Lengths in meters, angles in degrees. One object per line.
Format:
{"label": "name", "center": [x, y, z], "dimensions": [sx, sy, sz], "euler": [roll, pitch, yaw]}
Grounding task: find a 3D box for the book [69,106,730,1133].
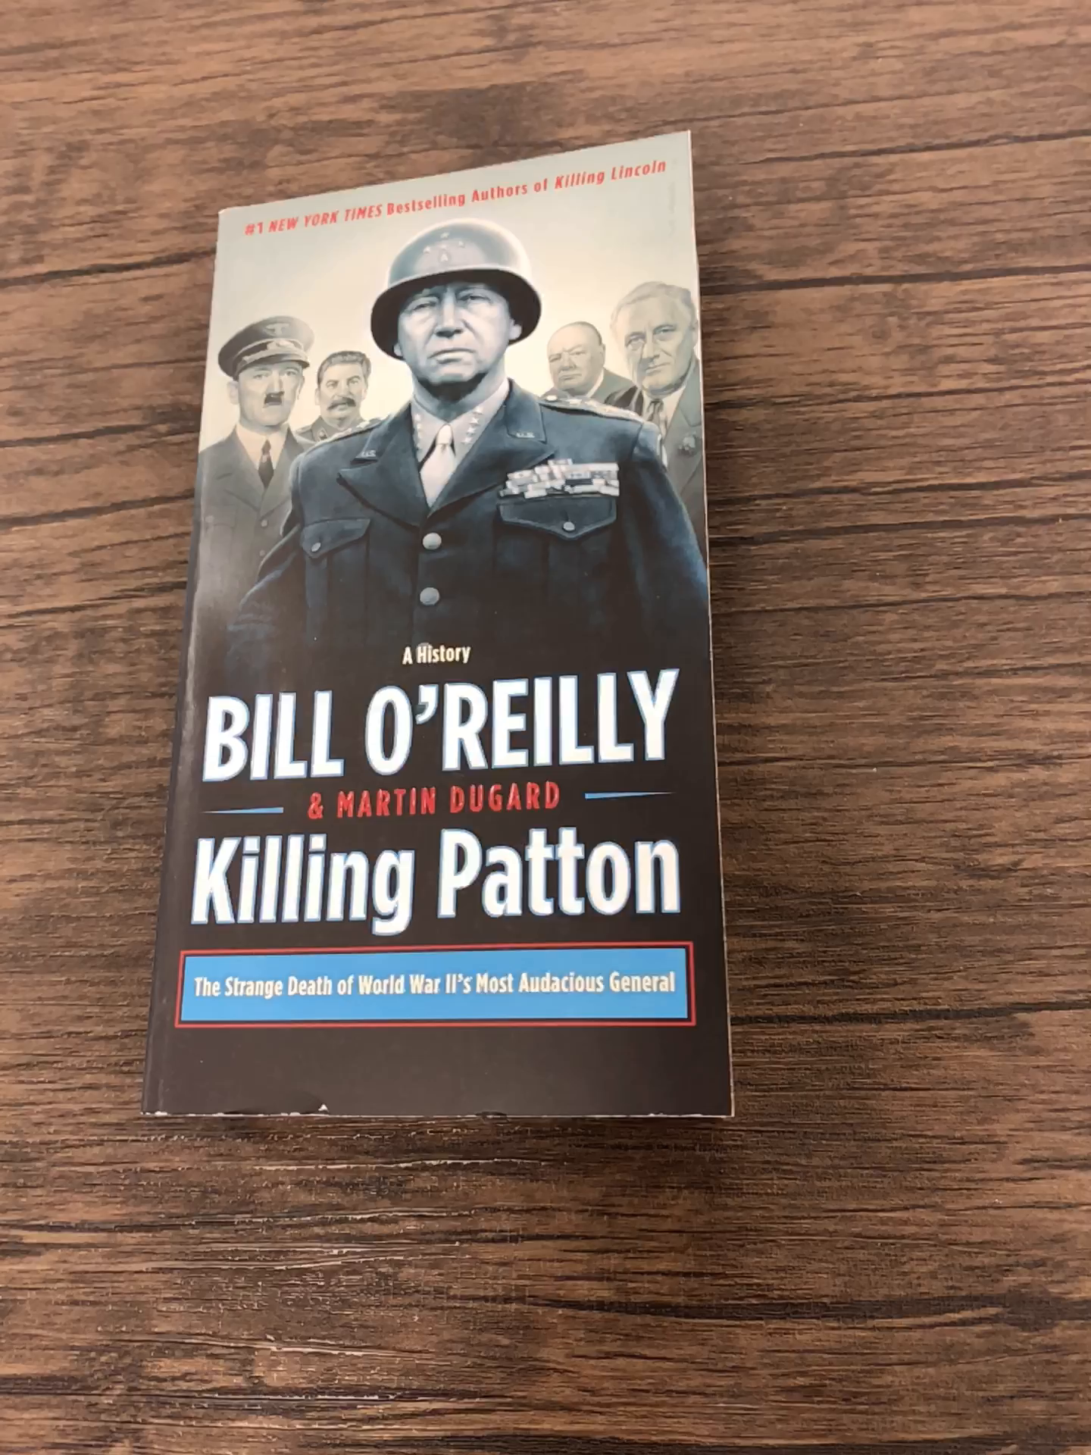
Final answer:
{"label": "book", "center": [-0.023, -0.020, 0.234], "dimensions": [0.105, 0.040, 0.182], "euler": [-4, 74, 13]}
